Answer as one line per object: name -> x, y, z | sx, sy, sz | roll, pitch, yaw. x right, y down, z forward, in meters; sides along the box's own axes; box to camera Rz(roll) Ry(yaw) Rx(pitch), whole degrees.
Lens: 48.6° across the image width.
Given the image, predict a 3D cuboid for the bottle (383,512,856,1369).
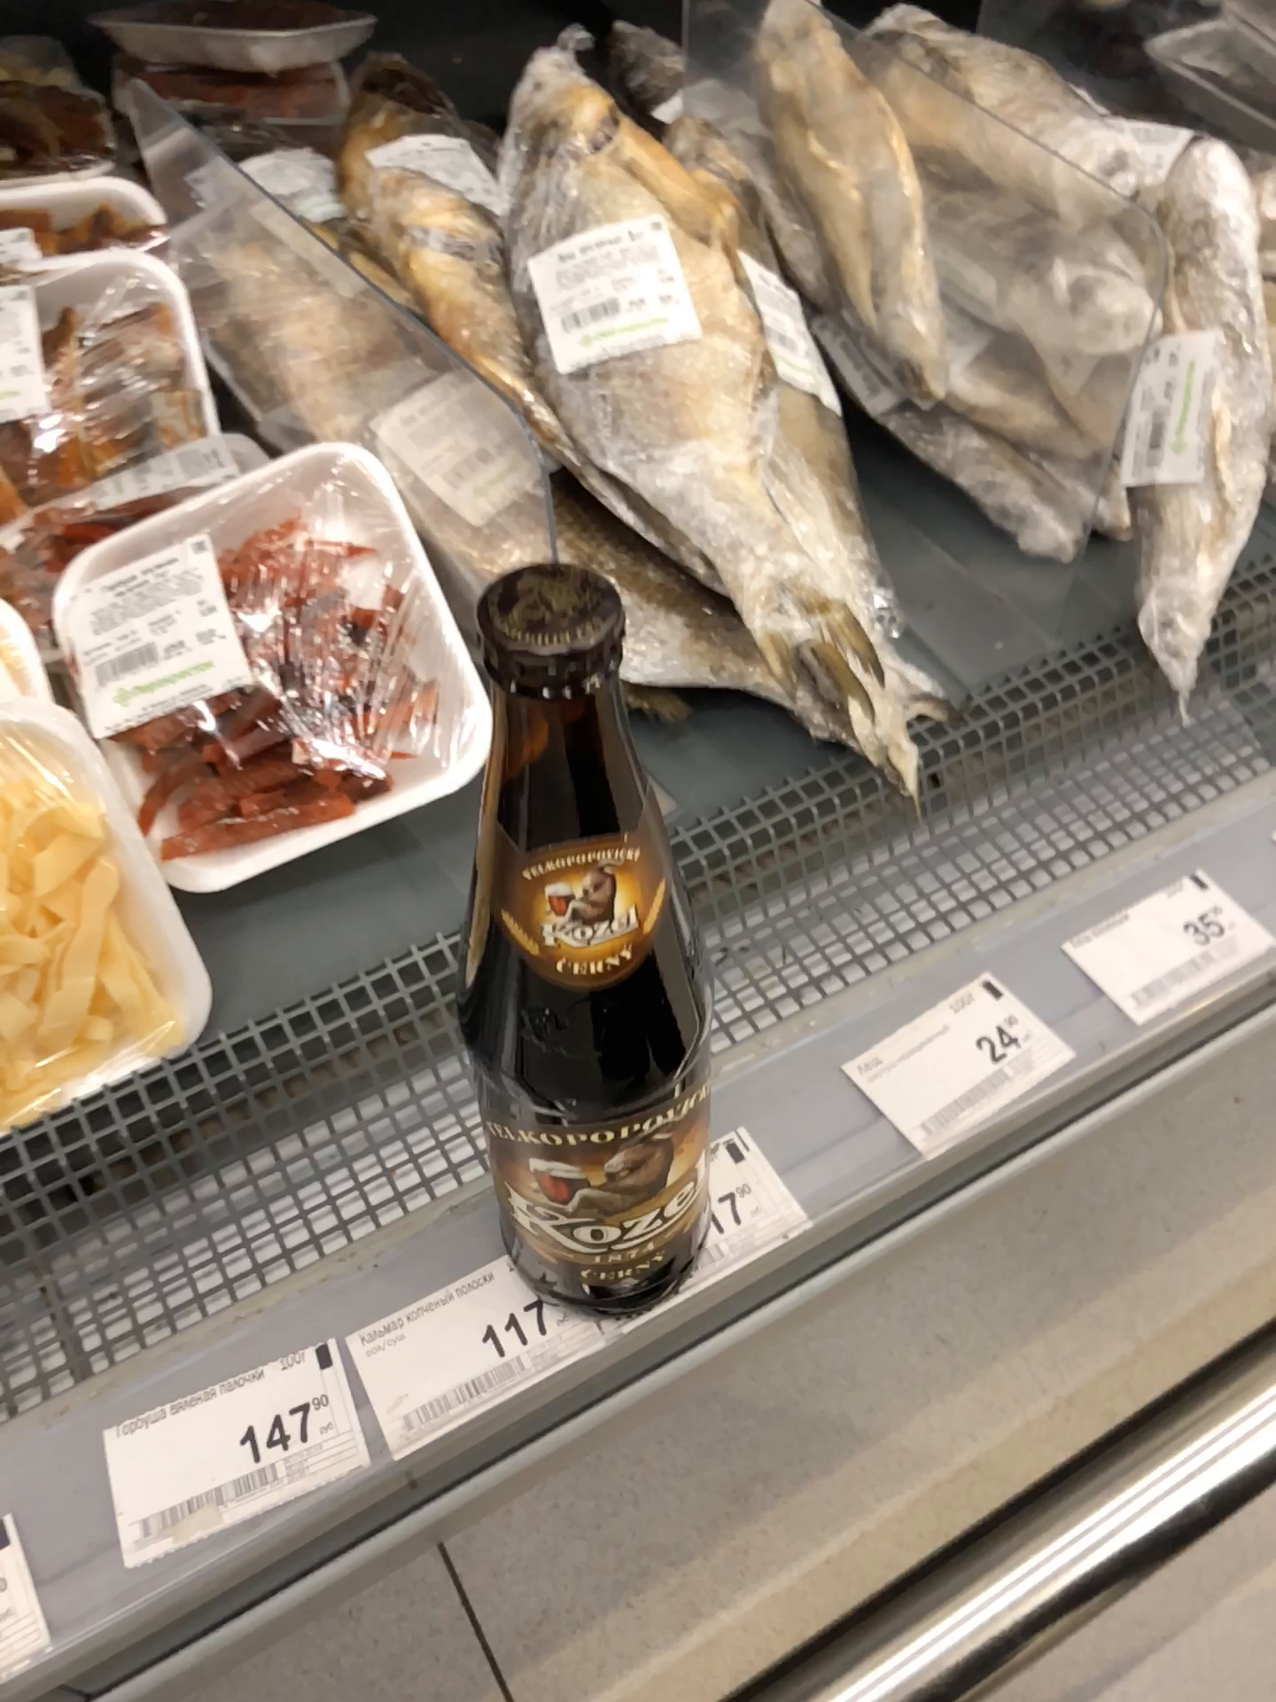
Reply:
bottle -> -0.006, 0.040, 0.340 | 0.070, 0.231, 0.070 | 0, 50, 0
